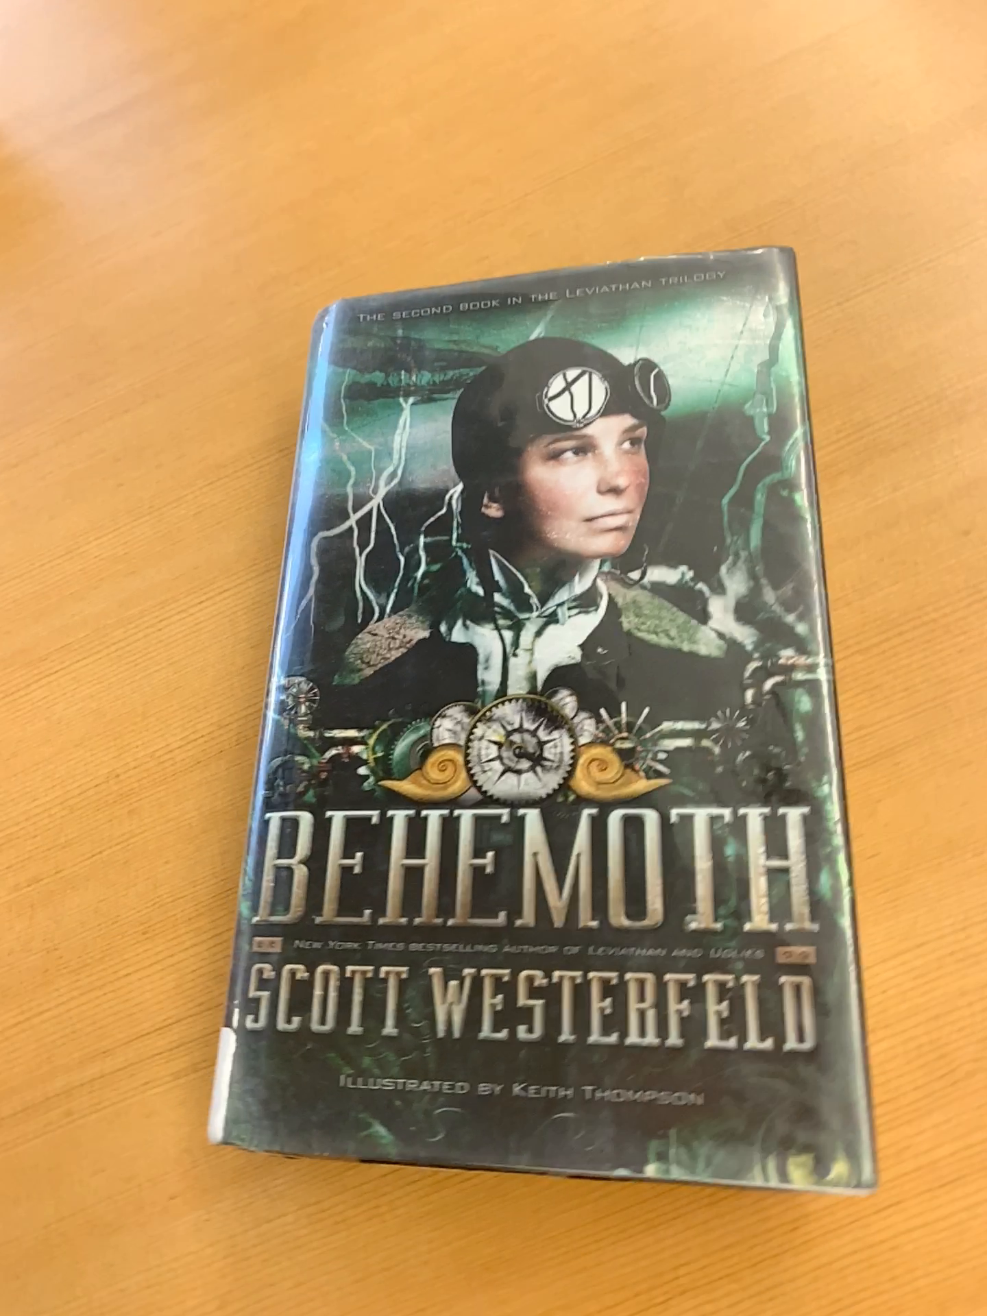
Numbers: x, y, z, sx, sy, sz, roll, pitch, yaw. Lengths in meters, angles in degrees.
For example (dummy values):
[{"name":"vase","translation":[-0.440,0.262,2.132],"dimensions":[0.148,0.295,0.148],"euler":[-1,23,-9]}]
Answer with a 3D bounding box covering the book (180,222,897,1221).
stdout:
[{"name":"book","translation":[0.013,0.006,0.276],"dimensions":[0.150,0.050,0.241],"euler":[-3,68,13]}]
